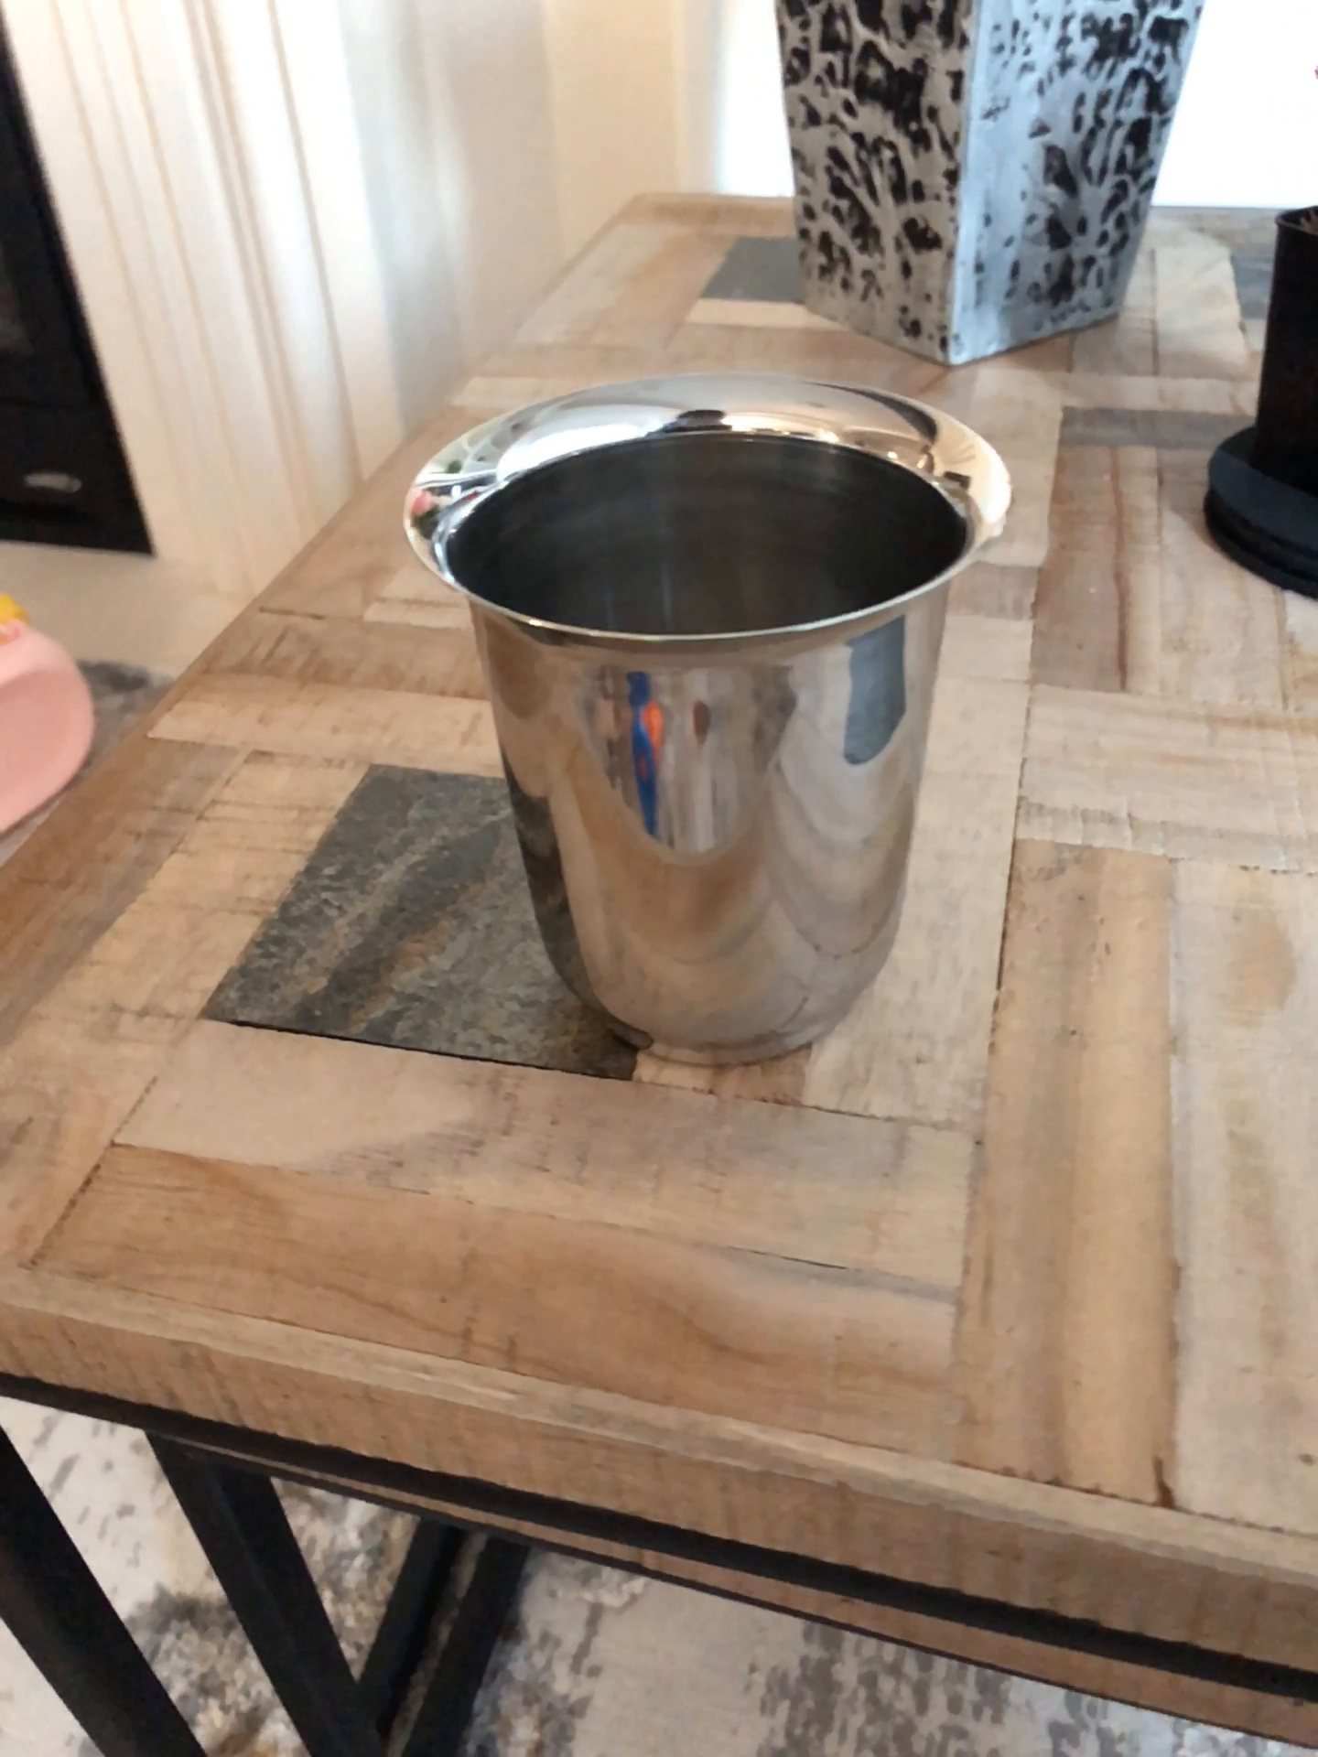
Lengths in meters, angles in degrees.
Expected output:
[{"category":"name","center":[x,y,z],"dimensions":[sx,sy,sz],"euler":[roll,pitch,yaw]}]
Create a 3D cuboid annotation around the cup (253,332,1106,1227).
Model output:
[{"category":"cup","center":[0.005,-0.021,0.231],"dimensions":[0.082,0.088,0.085],"euler":[-2,39,2]}]
